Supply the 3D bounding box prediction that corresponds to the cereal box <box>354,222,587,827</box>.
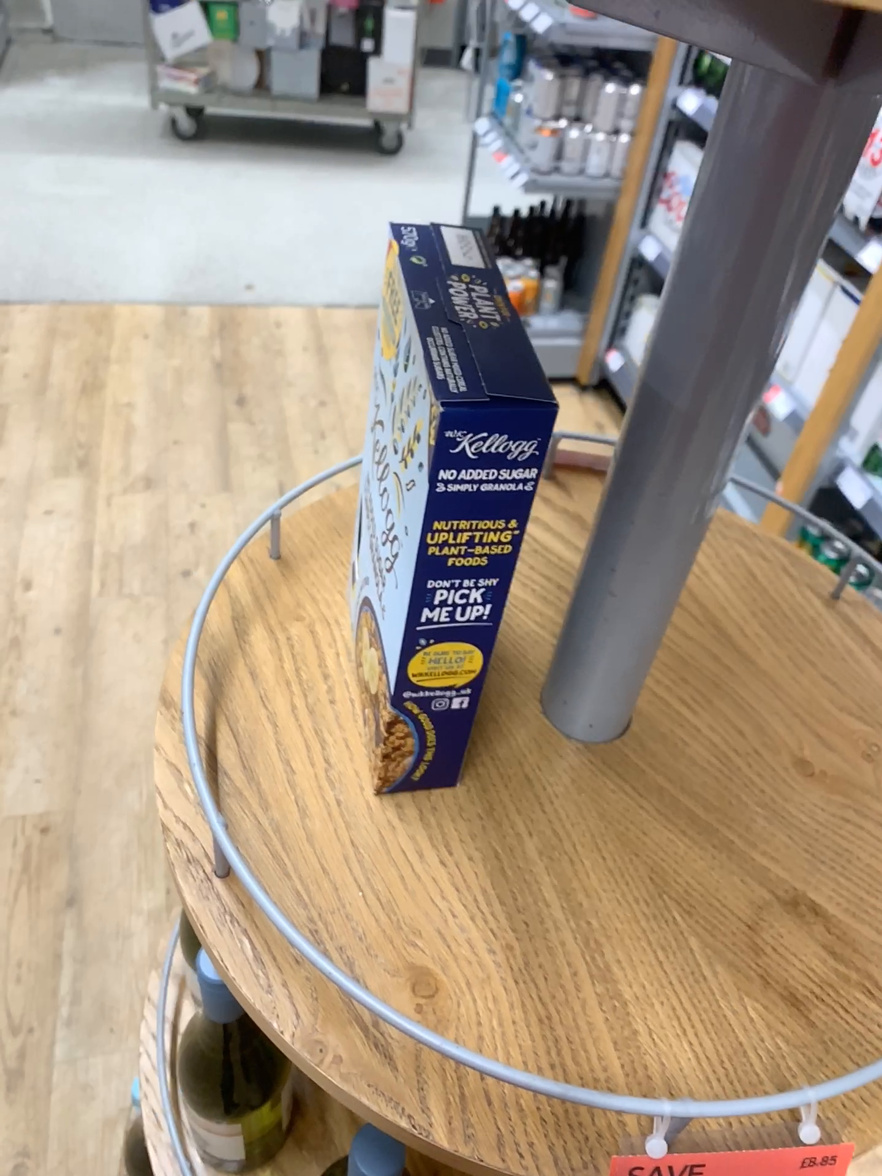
[{"bbox_3d":[-0.003,-0.024,0.459,0.050,0.248,0.172,0,44,-12],"label":"cereal box"}]
